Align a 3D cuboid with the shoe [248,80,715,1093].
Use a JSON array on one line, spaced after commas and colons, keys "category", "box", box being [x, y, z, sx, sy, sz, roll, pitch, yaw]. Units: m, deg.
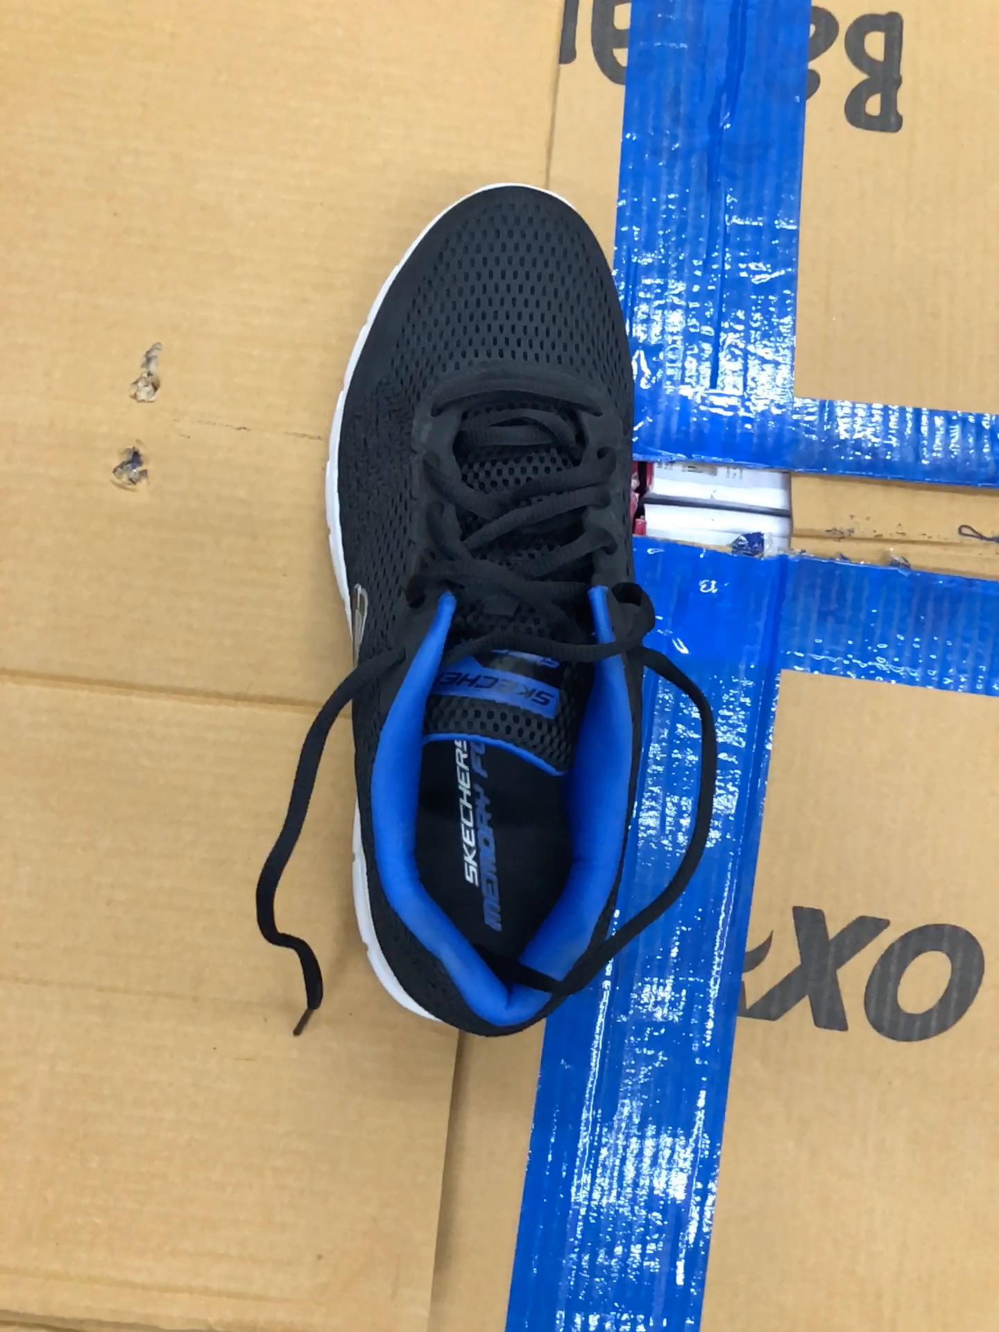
[{"category": "shoe", "box": [-0.005, -0.021, 0.365, 0.110, 0.130, 0.270, 4, 86, -2]}]
